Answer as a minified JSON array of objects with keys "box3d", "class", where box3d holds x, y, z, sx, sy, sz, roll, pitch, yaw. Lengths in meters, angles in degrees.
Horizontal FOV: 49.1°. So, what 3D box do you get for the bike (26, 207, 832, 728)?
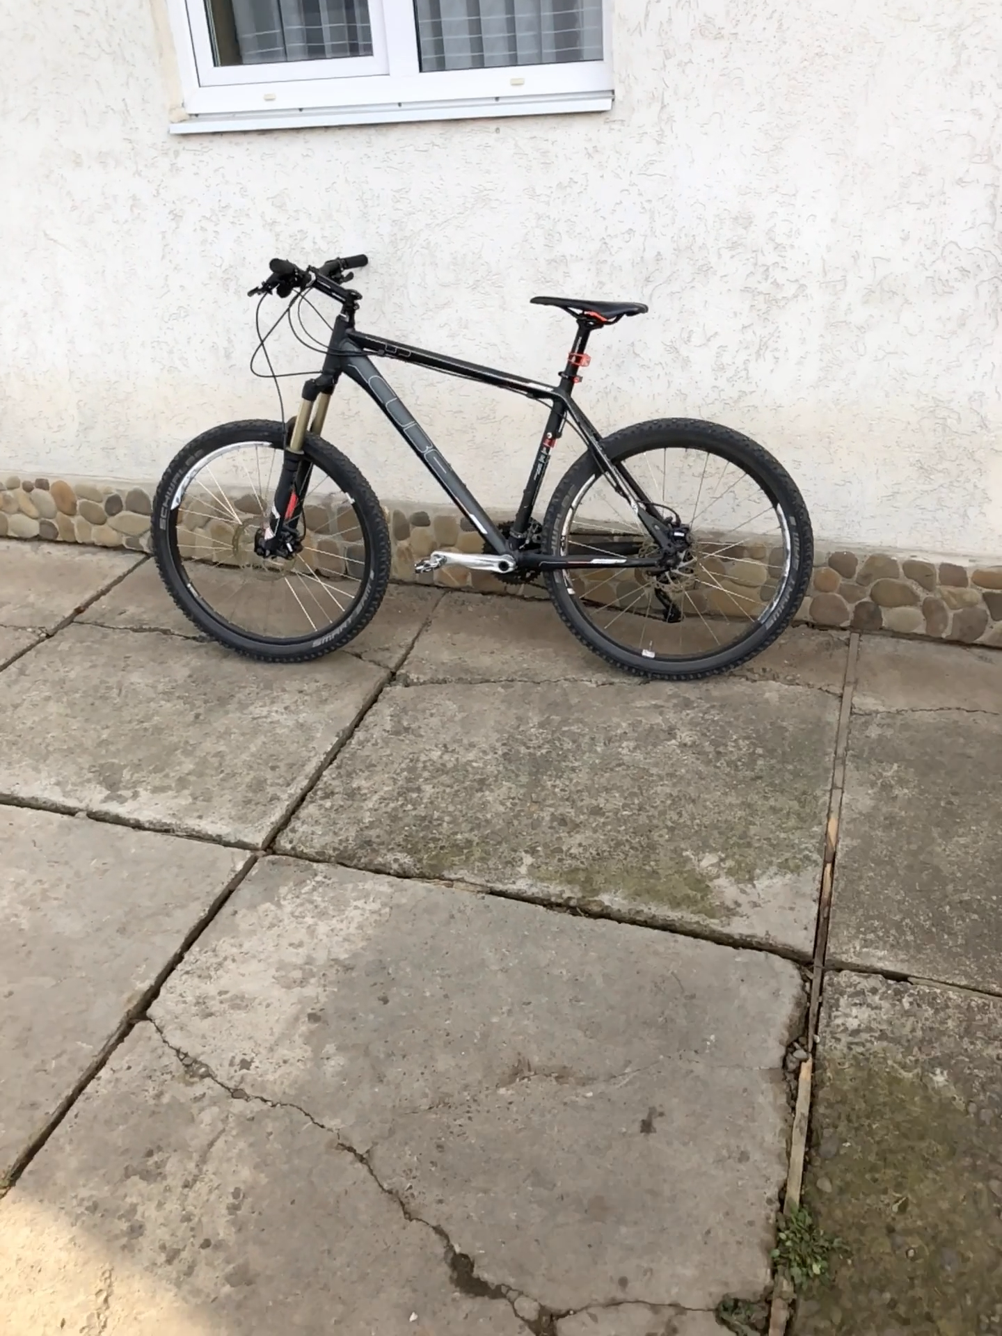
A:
[{"box3d":[-0.105,-0.570,2.879,1.772,1.090,0.690,4,30,12],"class":"bike"}]
